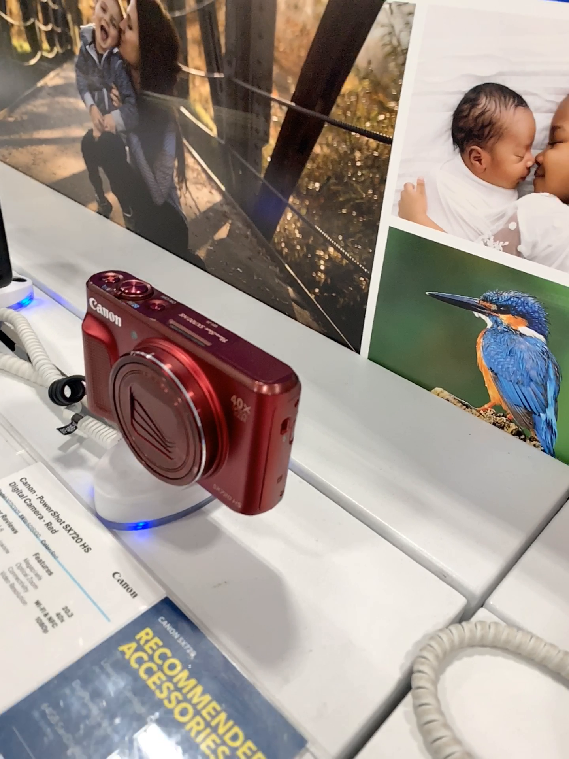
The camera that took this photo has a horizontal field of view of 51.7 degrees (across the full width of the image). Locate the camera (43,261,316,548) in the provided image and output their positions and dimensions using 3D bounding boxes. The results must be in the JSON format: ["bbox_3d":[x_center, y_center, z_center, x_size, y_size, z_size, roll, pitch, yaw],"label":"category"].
[{"bbox_3d":[-0.046,0.004,0.232,0.110,0.060,0.037,31,39,30],"label":"camera"}]
